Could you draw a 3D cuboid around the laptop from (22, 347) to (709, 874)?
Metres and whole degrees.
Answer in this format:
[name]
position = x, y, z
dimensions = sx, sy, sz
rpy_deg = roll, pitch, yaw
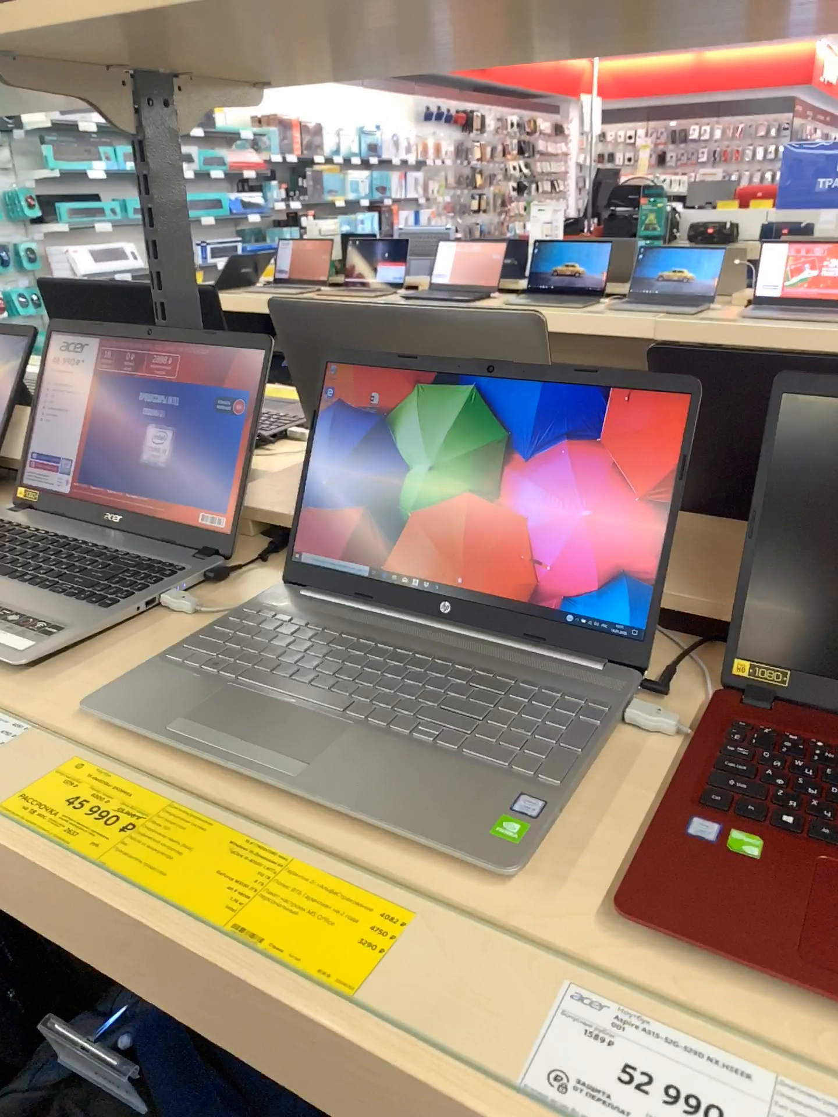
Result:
[laptop]
position = -0.016, -0.017, 0.655
dimensions = 0.360, 0.209, 0.348
rpy_deg = 12, 26, 29
